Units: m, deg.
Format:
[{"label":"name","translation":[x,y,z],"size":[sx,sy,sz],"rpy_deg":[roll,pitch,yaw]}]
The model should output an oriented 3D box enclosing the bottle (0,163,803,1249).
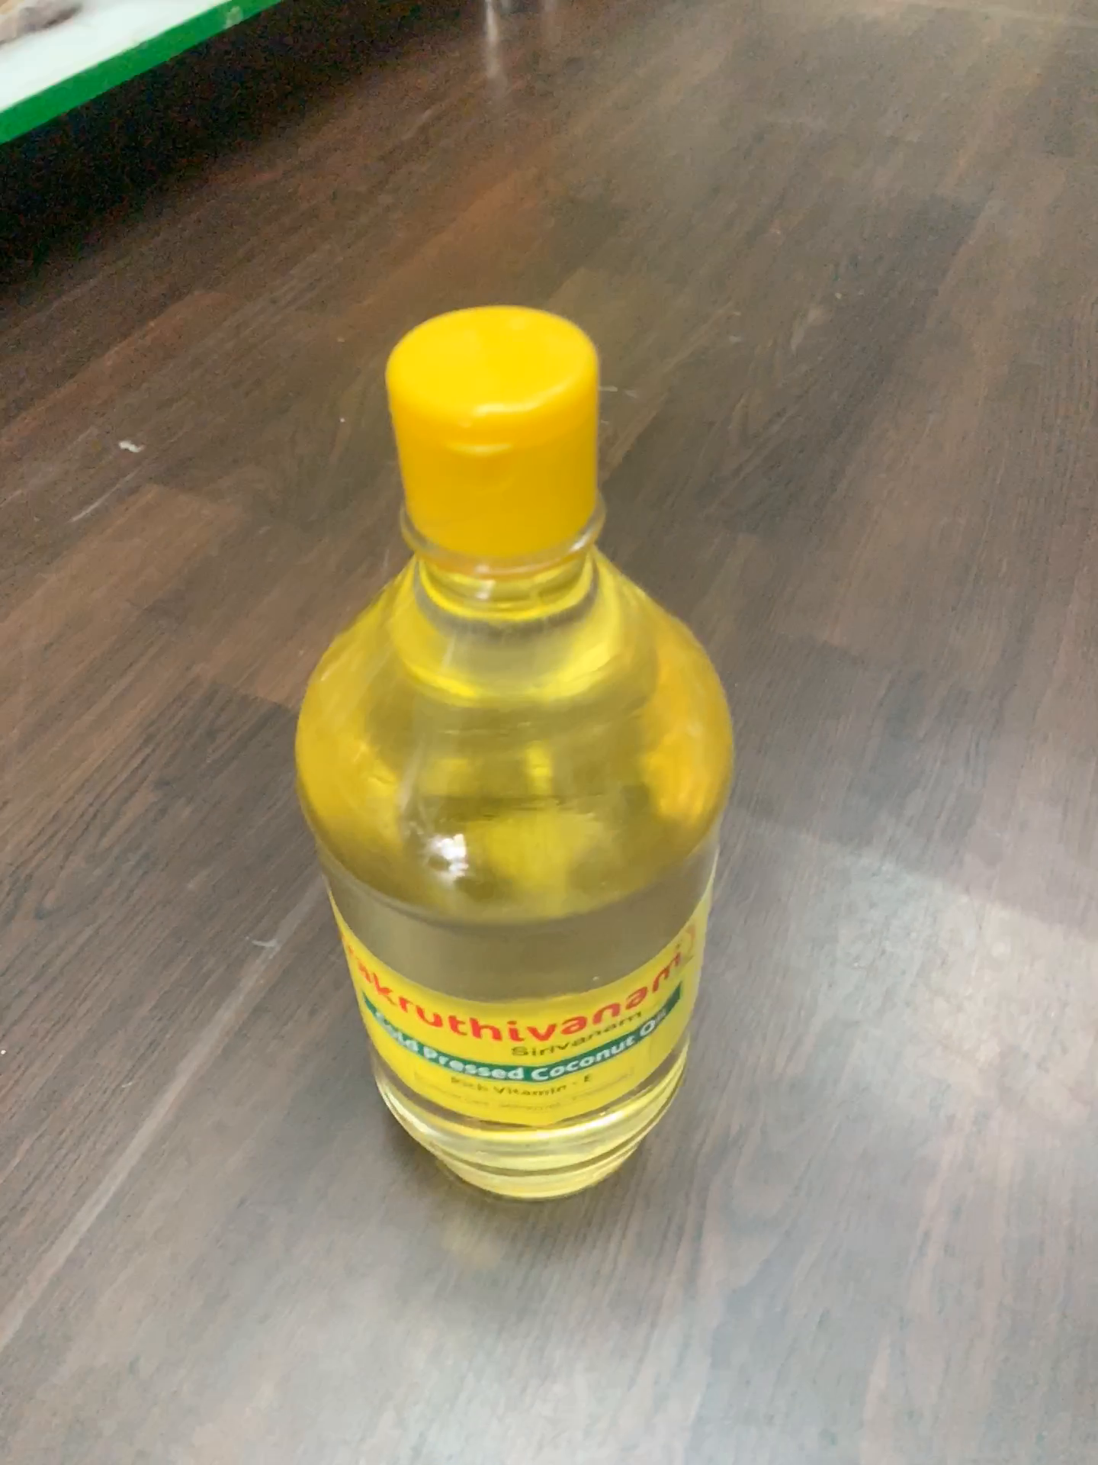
[{"label":"bottle","translation":[-0.010,0.015,0.227],"size":[0.090,0.209,0.090],"rpy_deg":[-1,48,1]}]
